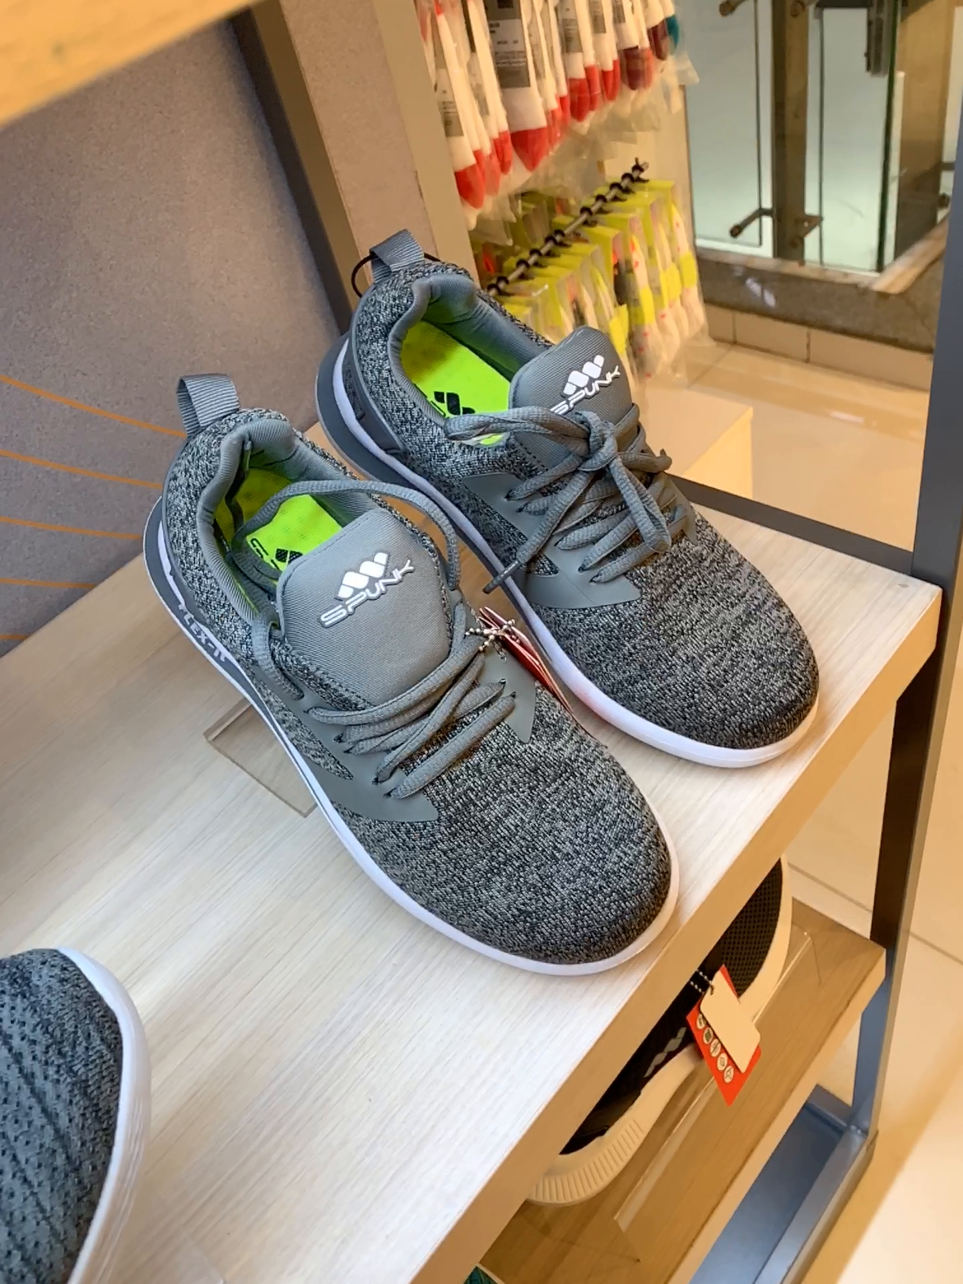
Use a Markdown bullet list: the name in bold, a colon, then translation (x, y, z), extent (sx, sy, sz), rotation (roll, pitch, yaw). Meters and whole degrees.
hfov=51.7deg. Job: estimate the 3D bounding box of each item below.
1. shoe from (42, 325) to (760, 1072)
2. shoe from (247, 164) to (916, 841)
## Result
- **shoe**: translation (-0.033, 0.018, 0.338), extent (0.080, 0.080, 0.241), rotation (-39, 81, -21)
- **shoe**: translation (0.029, -0.050, 0.376), extent (0.240, 0.080, 0.090), rotation (46, 65, 4)
